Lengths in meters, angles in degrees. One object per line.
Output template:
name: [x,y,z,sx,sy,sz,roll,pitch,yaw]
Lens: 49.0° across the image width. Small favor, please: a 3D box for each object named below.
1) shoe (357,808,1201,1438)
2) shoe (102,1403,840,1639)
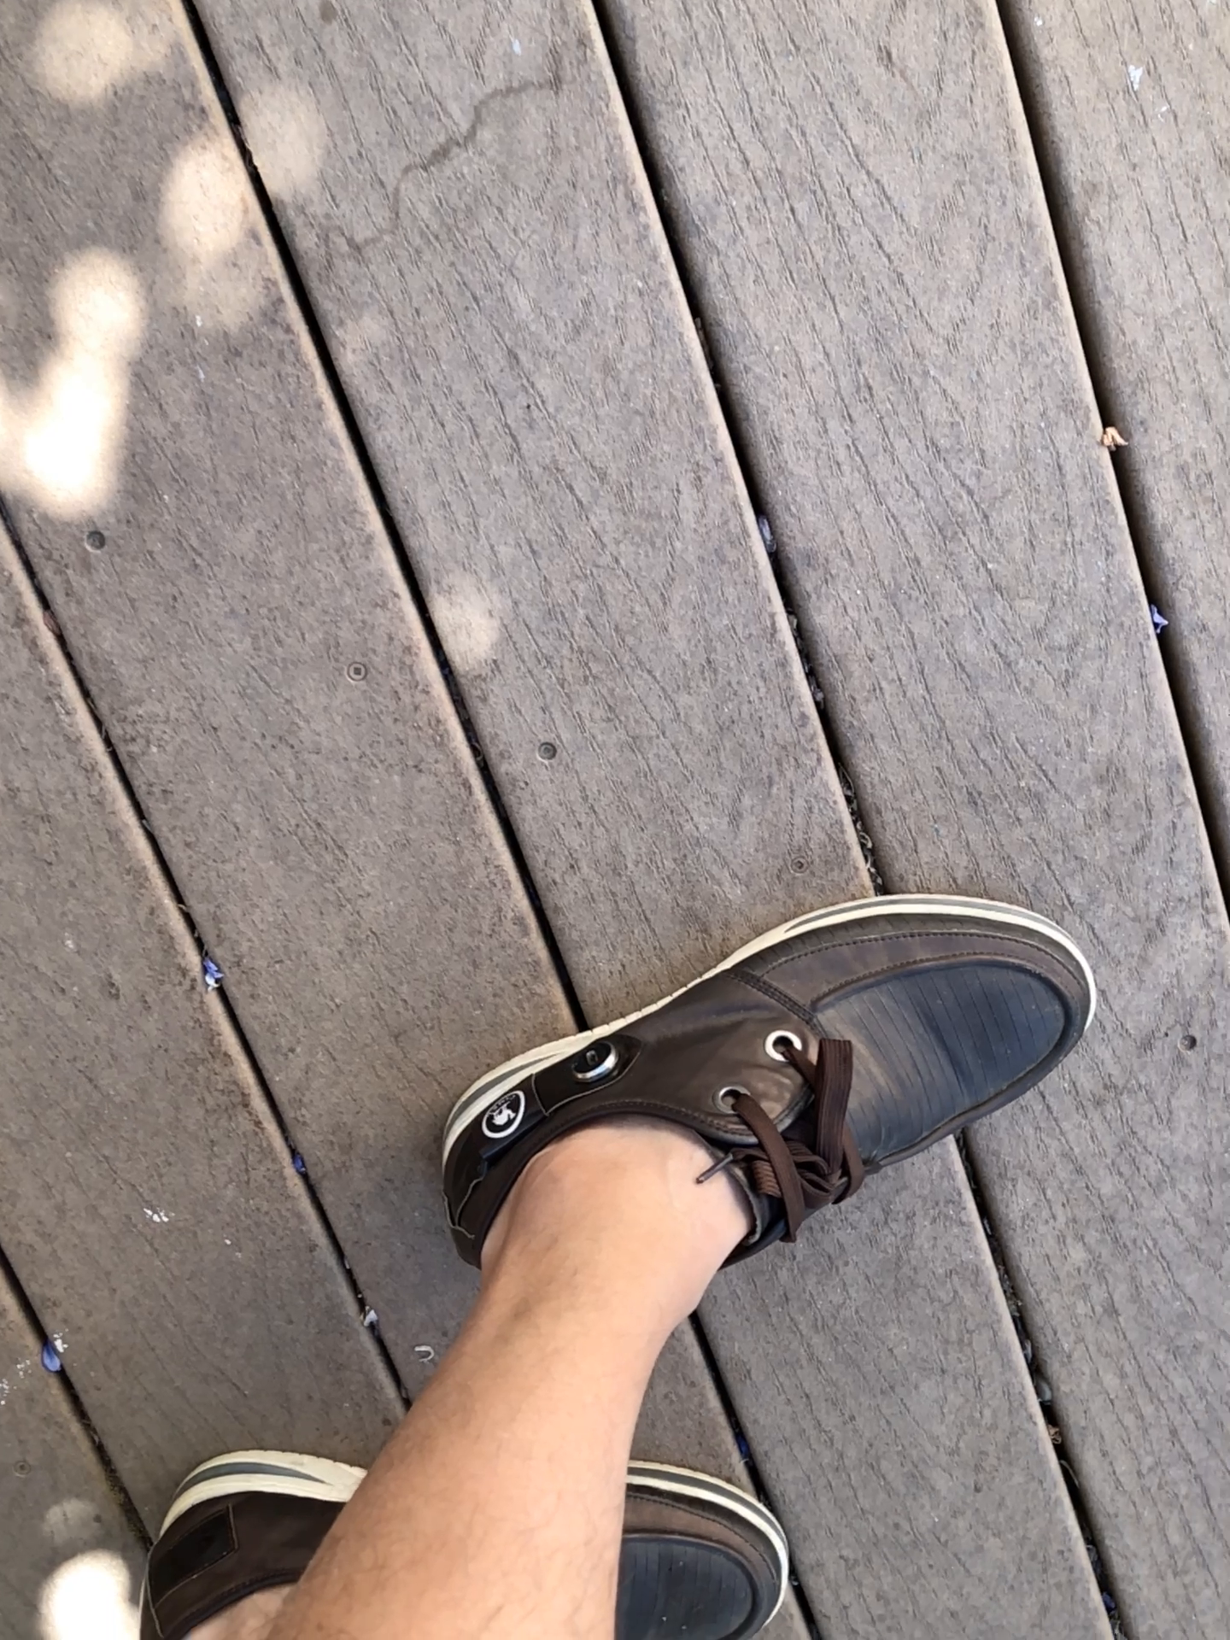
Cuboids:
shoe: [0.057,0.112,0.525,0.283,0.096,0.104,-25,103,4]
shoe: [-0.059,0.335,0.571,0.276,0.090,0.104,8,103,-4]
